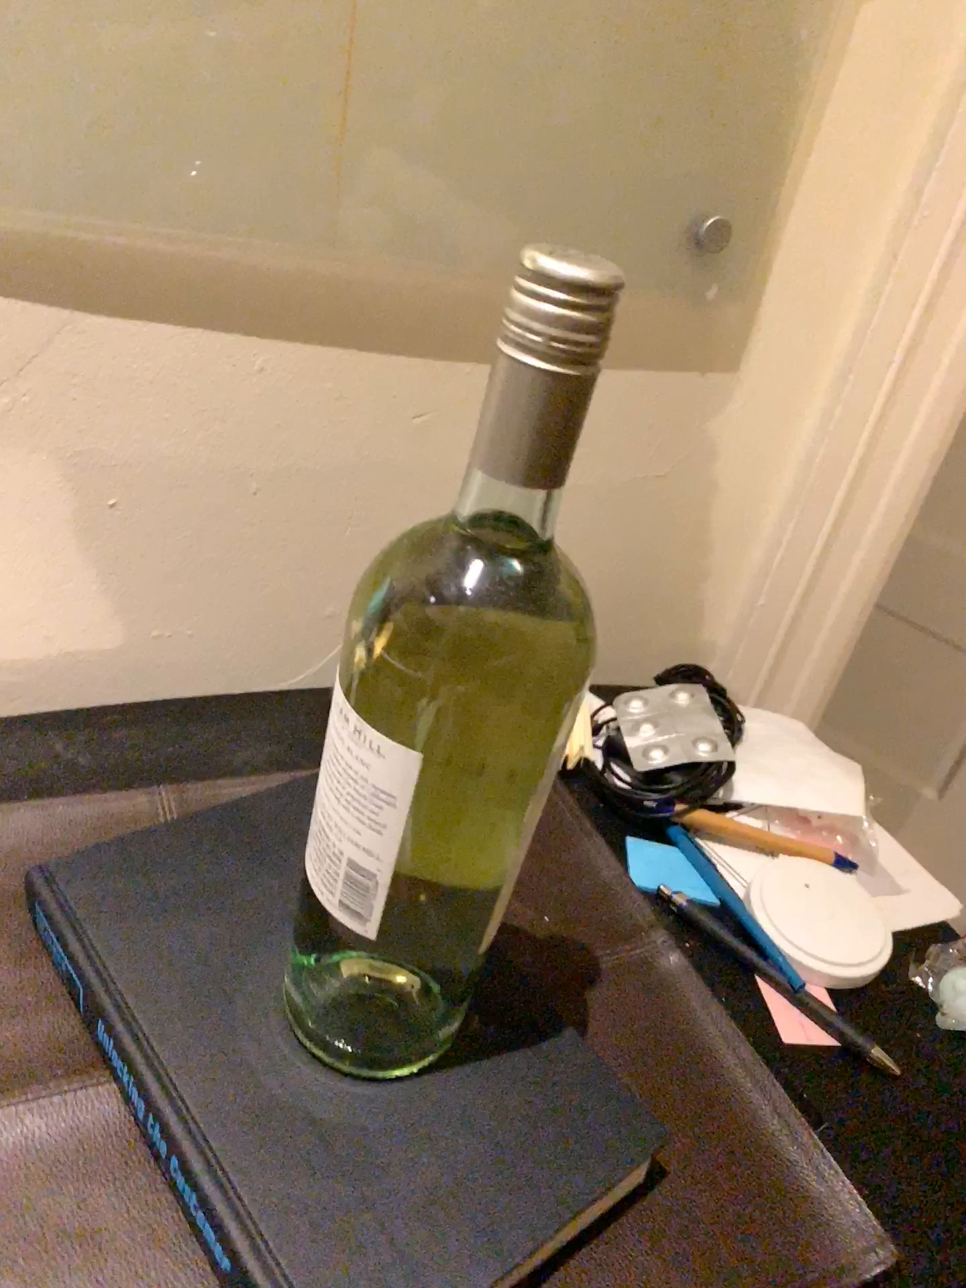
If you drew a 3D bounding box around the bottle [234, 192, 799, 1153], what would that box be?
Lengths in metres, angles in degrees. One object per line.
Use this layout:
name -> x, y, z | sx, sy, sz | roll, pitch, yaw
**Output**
bottle -> -0.013, 0.026, 0.330 | 0.090, 0.298, 0.090 | 10, 31, -6
